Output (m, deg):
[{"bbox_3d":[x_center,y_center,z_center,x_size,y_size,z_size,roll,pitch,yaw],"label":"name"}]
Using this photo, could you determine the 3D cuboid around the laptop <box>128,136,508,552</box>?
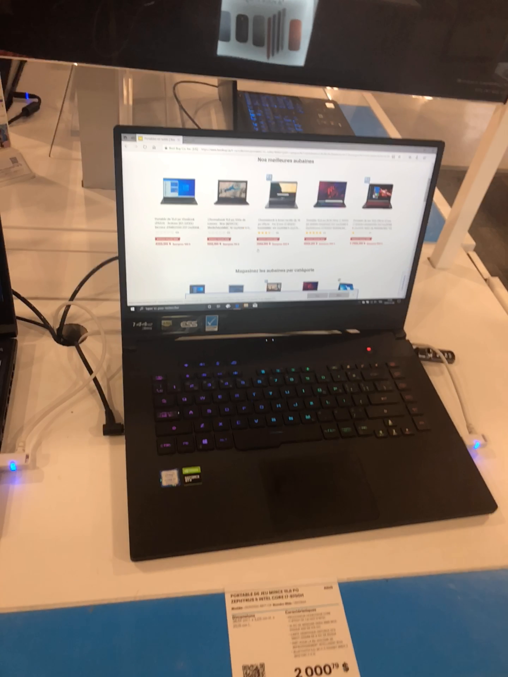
[{"bbox_3d":[0.057,-0.016,0.533,0.340,0.207,0.316,-2,45,-12],"label":"laptop"}]
